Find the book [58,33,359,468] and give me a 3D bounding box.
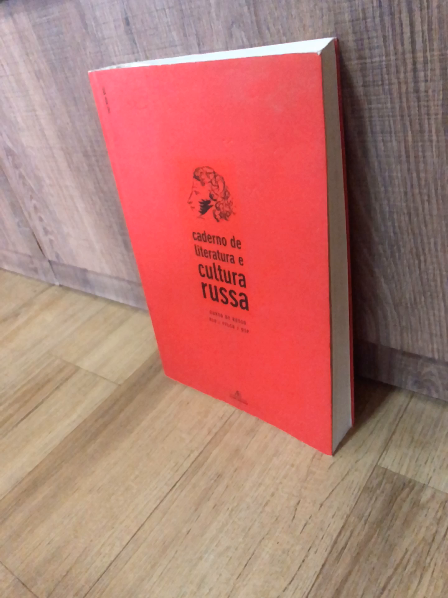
[{"bbox_3d":[-0.007,-0.028,0.337,0.188,0.248,0.040,16,38,39],"label":"book"}]
